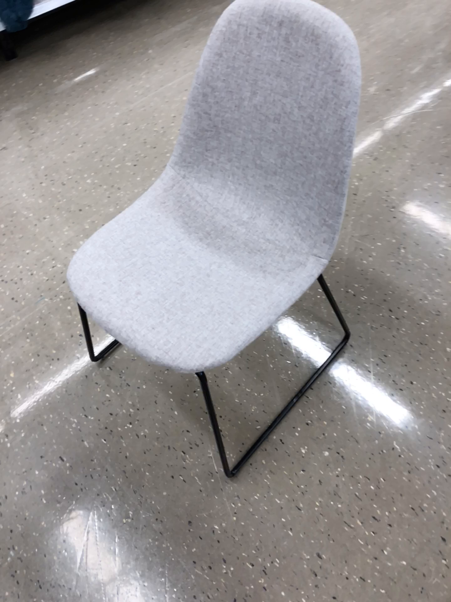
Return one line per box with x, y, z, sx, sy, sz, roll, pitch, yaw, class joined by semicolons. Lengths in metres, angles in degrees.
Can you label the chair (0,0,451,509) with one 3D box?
-0.058;-0.107;1.017;0.591;0.778;0.581;34;62;25;chair
